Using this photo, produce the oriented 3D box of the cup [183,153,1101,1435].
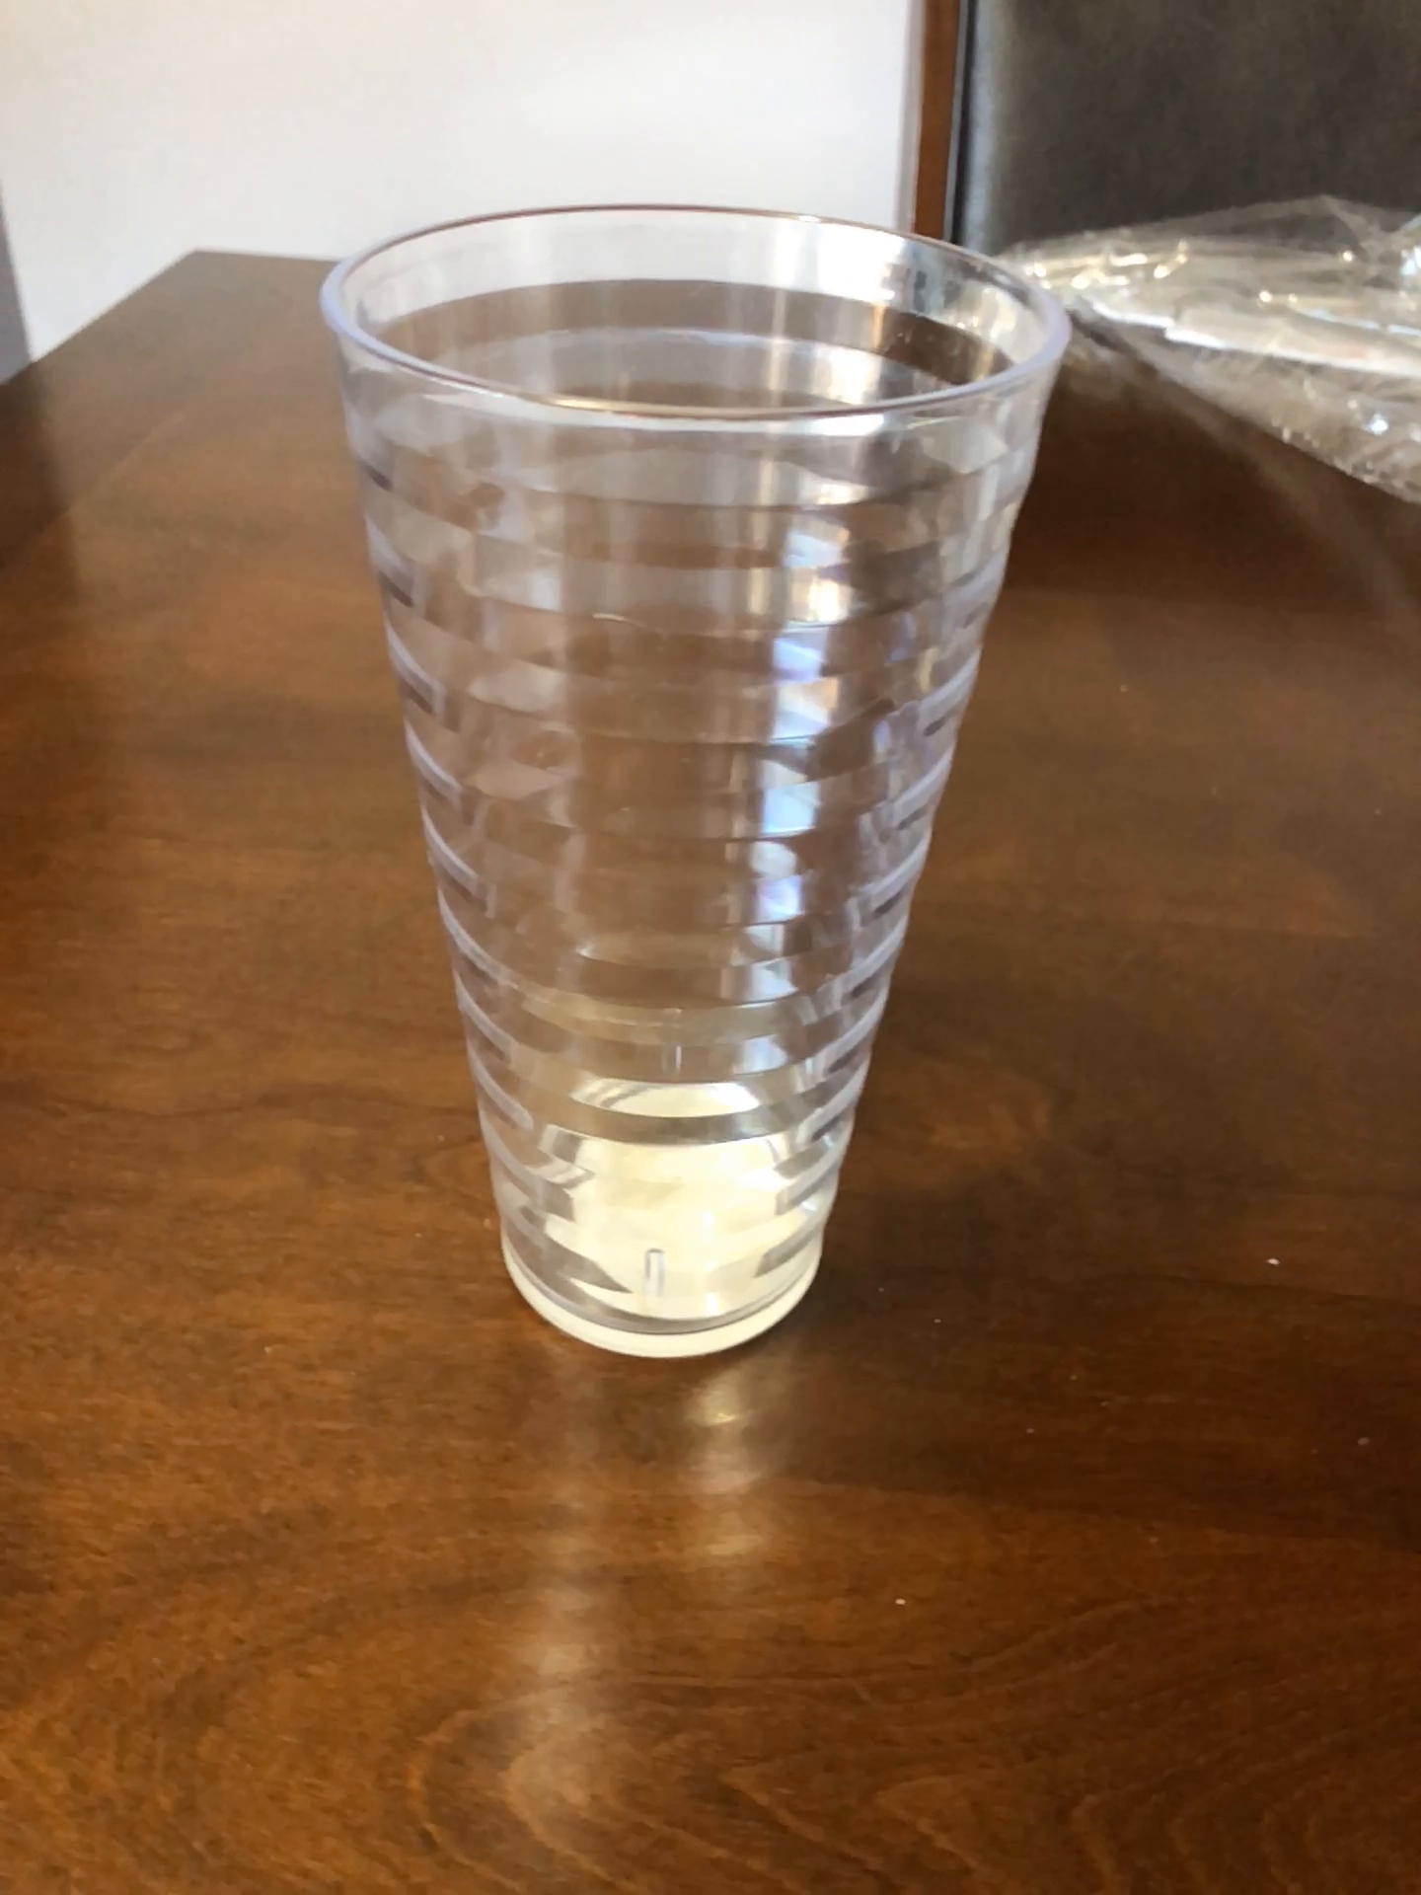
[{"bbox_3d":[-0.007,-0.021,0.266,0.100,0.179,0.100,2,37,-1],"label":"cup"}]
